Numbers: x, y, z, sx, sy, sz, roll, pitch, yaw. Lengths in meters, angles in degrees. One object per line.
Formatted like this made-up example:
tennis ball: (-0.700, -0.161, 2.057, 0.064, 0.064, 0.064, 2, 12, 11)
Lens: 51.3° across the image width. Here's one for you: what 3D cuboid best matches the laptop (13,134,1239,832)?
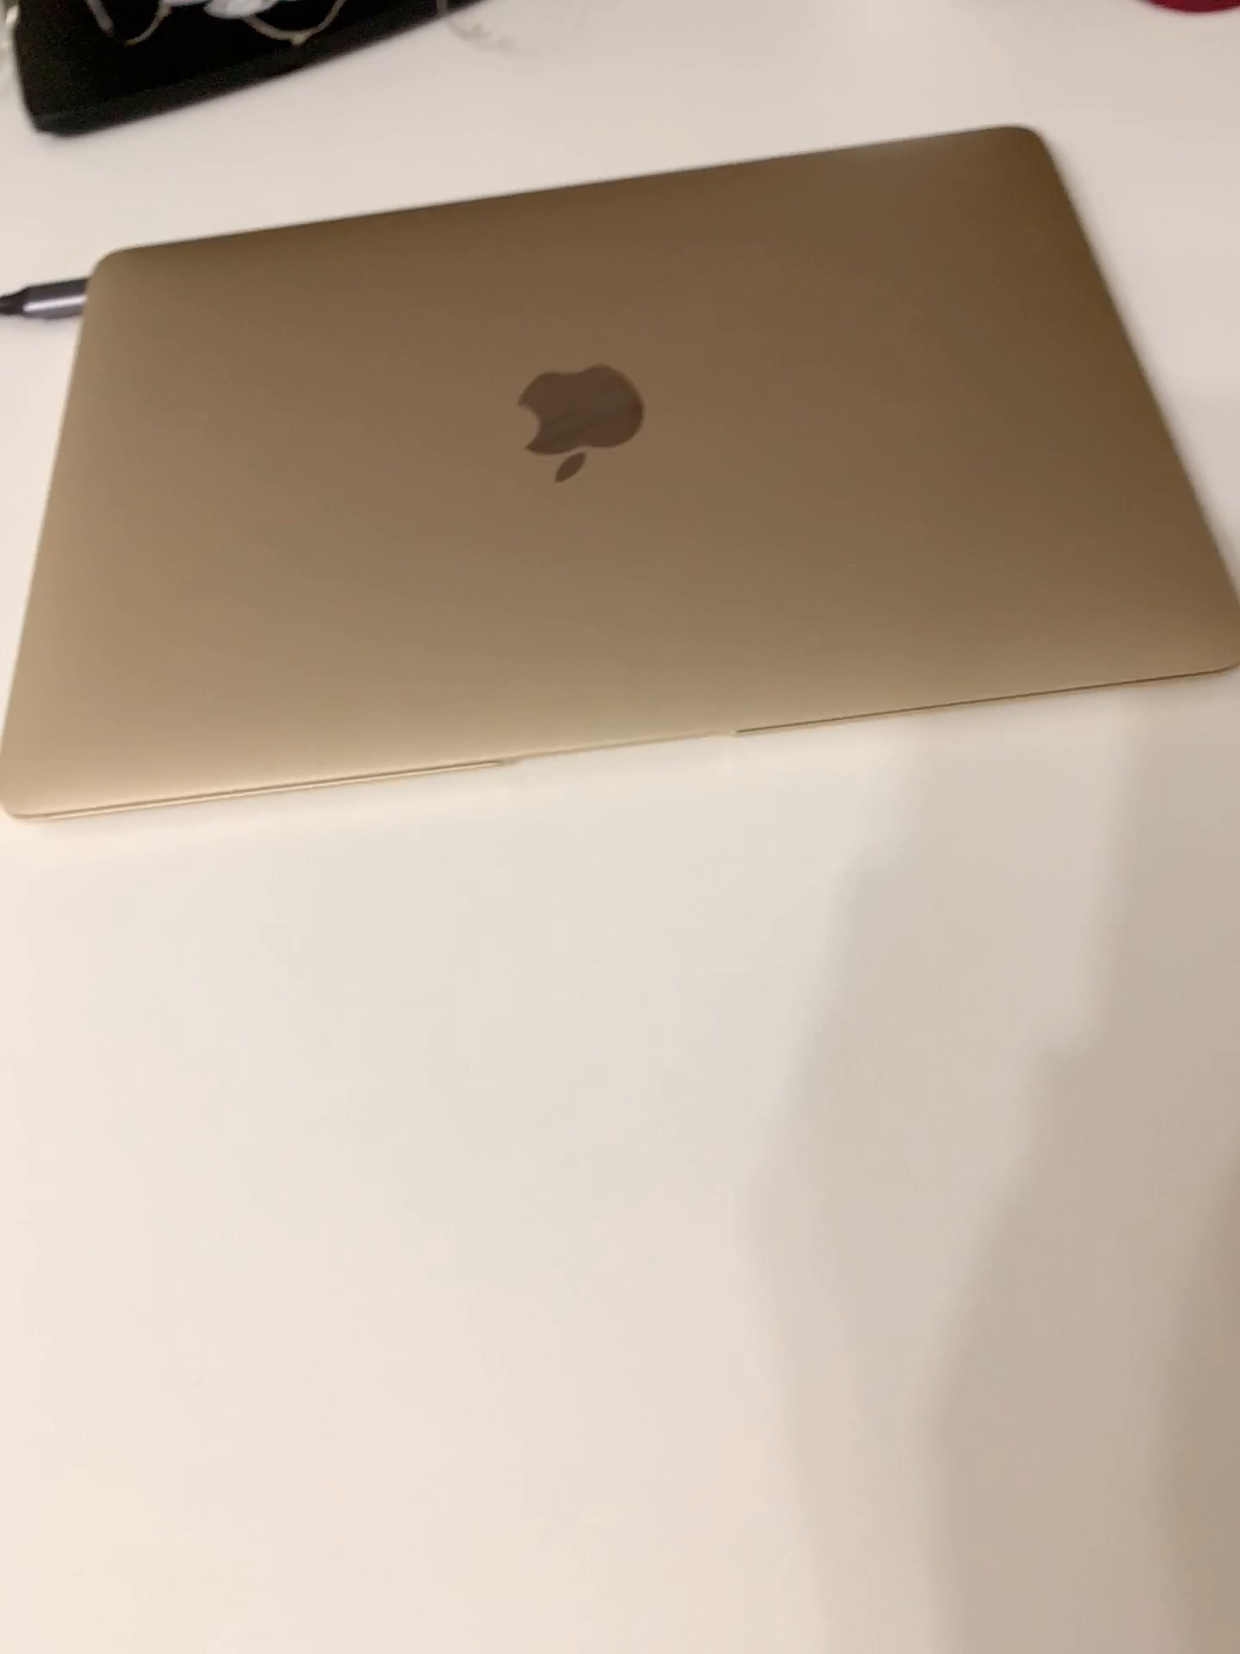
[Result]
laptop: (-0.007, -0.092, 0.310, 0.255, 0.009, 0.175, -7, 60, 2)
